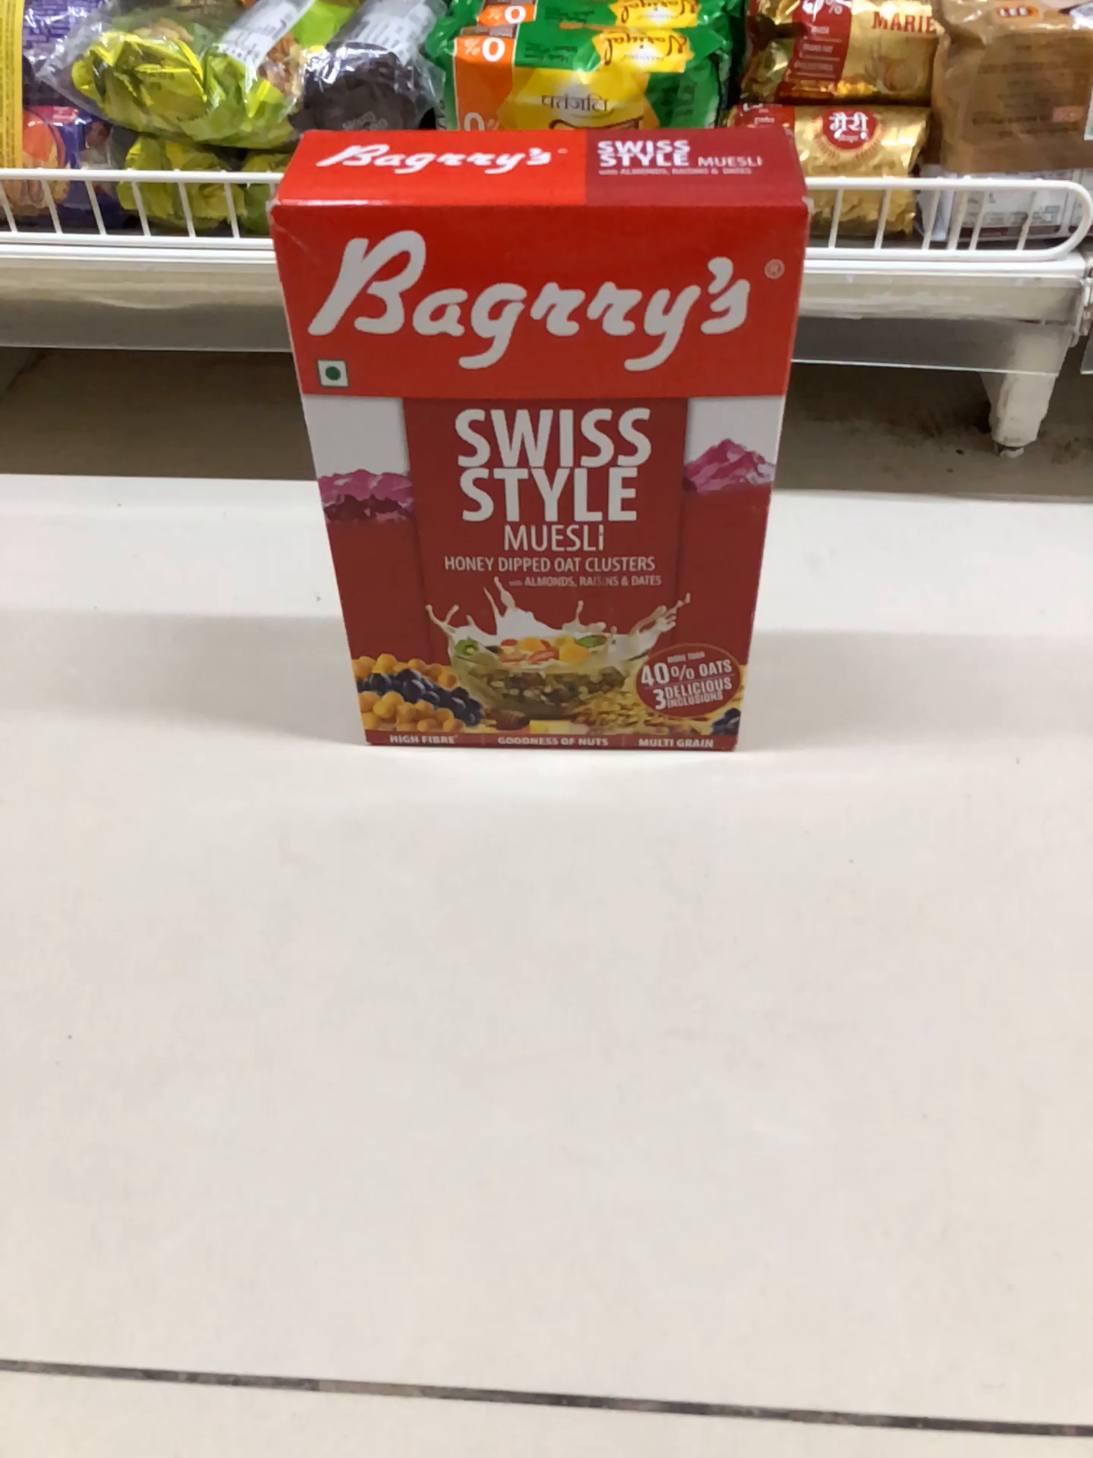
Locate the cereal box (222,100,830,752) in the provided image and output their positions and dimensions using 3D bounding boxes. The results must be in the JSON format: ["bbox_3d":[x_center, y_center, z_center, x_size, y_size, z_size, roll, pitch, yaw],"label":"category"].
[{"bbox_3d":[-0.003,-0.104,0.486,0.190,0.258,0.060,1,44,2],"label":"cereal box"}]
